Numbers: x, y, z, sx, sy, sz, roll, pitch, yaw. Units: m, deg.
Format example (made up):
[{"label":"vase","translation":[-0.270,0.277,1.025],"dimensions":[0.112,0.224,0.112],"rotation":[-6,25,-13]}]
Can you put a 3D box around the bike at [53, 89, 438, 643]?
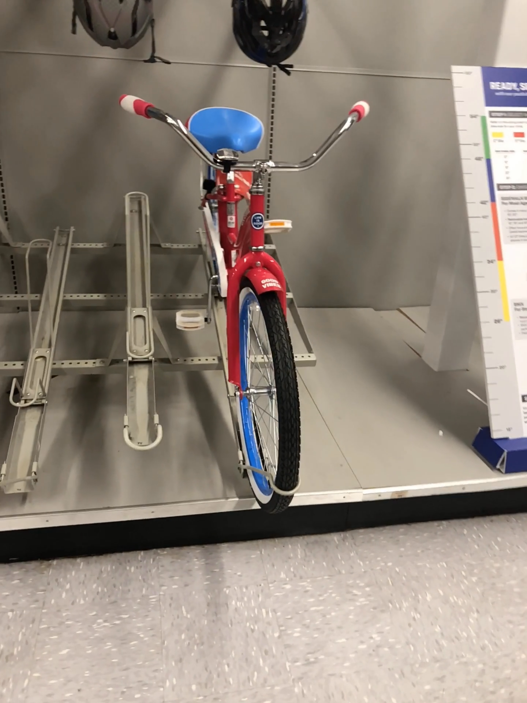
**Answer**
[{"label":"bike","translation":[-0.161,-0.186,1.915],"dimensions":[0.810,0.676,1.615],"rotation":[-2,40,-12]}]
